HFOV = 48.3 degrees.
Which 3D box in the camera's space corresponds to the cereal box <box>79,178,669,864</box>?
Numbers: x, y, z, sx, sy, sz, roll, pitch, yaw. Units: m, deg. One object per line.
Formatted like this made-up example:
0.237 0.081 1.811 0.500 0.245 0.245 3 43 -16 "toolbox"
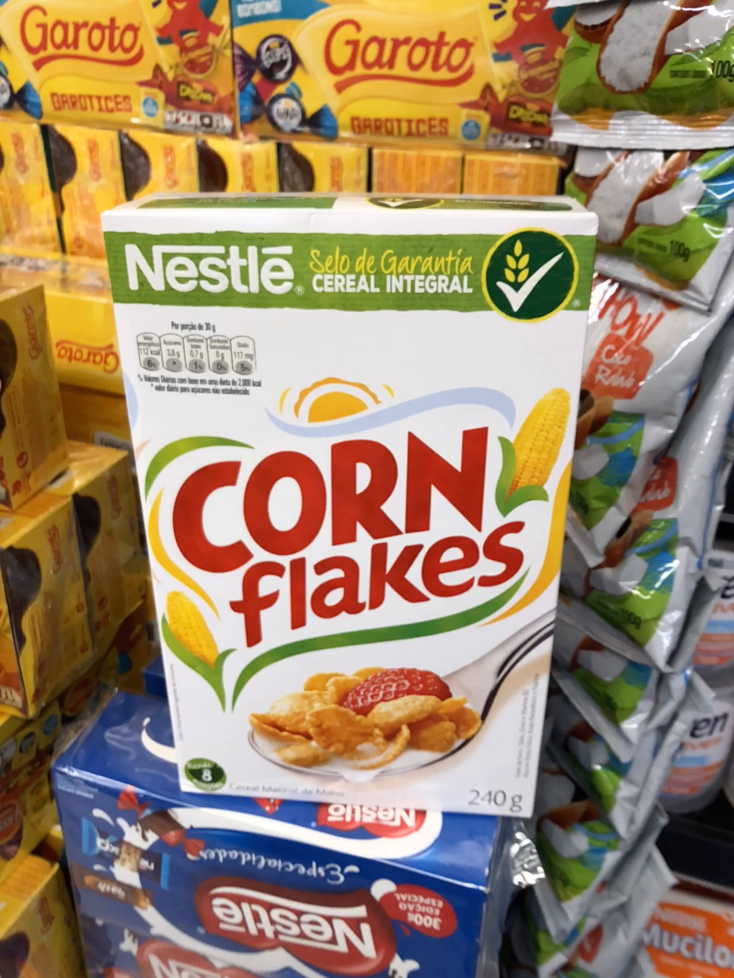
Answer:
0.000 0.019 0.313 0.170 0.248 0.060 4 25 6 "cereal box"
